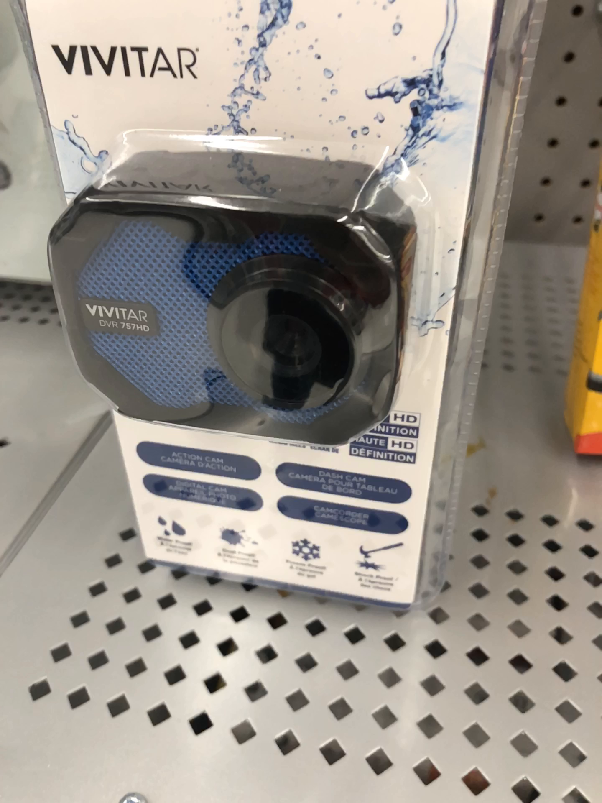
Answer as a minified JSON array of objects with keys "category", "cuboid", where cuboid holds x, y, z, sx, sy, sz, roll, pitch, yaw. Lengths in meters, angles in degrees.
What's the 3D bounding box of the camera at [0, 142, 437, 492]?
[{"category":"camera","cuboid":[-0.012,-0.019,0.136,0.070,0.050,0.040,7,37,13]}]
